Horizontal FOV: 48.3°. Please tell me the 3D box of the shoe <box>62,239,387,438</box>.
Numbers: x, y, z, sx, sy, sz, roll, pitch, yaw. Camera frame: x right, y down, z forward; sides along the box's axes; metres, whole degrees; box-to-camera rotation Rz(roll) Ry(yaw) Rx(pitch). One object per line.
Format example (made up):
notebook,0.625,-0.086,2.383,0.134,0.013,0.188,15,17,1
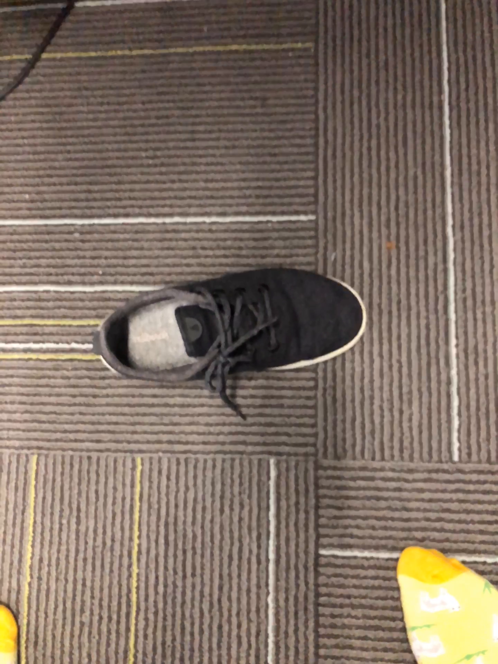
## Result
shoe,-0.025,0.010,0.531,0.280,0.060,0.140,-9,81,4
